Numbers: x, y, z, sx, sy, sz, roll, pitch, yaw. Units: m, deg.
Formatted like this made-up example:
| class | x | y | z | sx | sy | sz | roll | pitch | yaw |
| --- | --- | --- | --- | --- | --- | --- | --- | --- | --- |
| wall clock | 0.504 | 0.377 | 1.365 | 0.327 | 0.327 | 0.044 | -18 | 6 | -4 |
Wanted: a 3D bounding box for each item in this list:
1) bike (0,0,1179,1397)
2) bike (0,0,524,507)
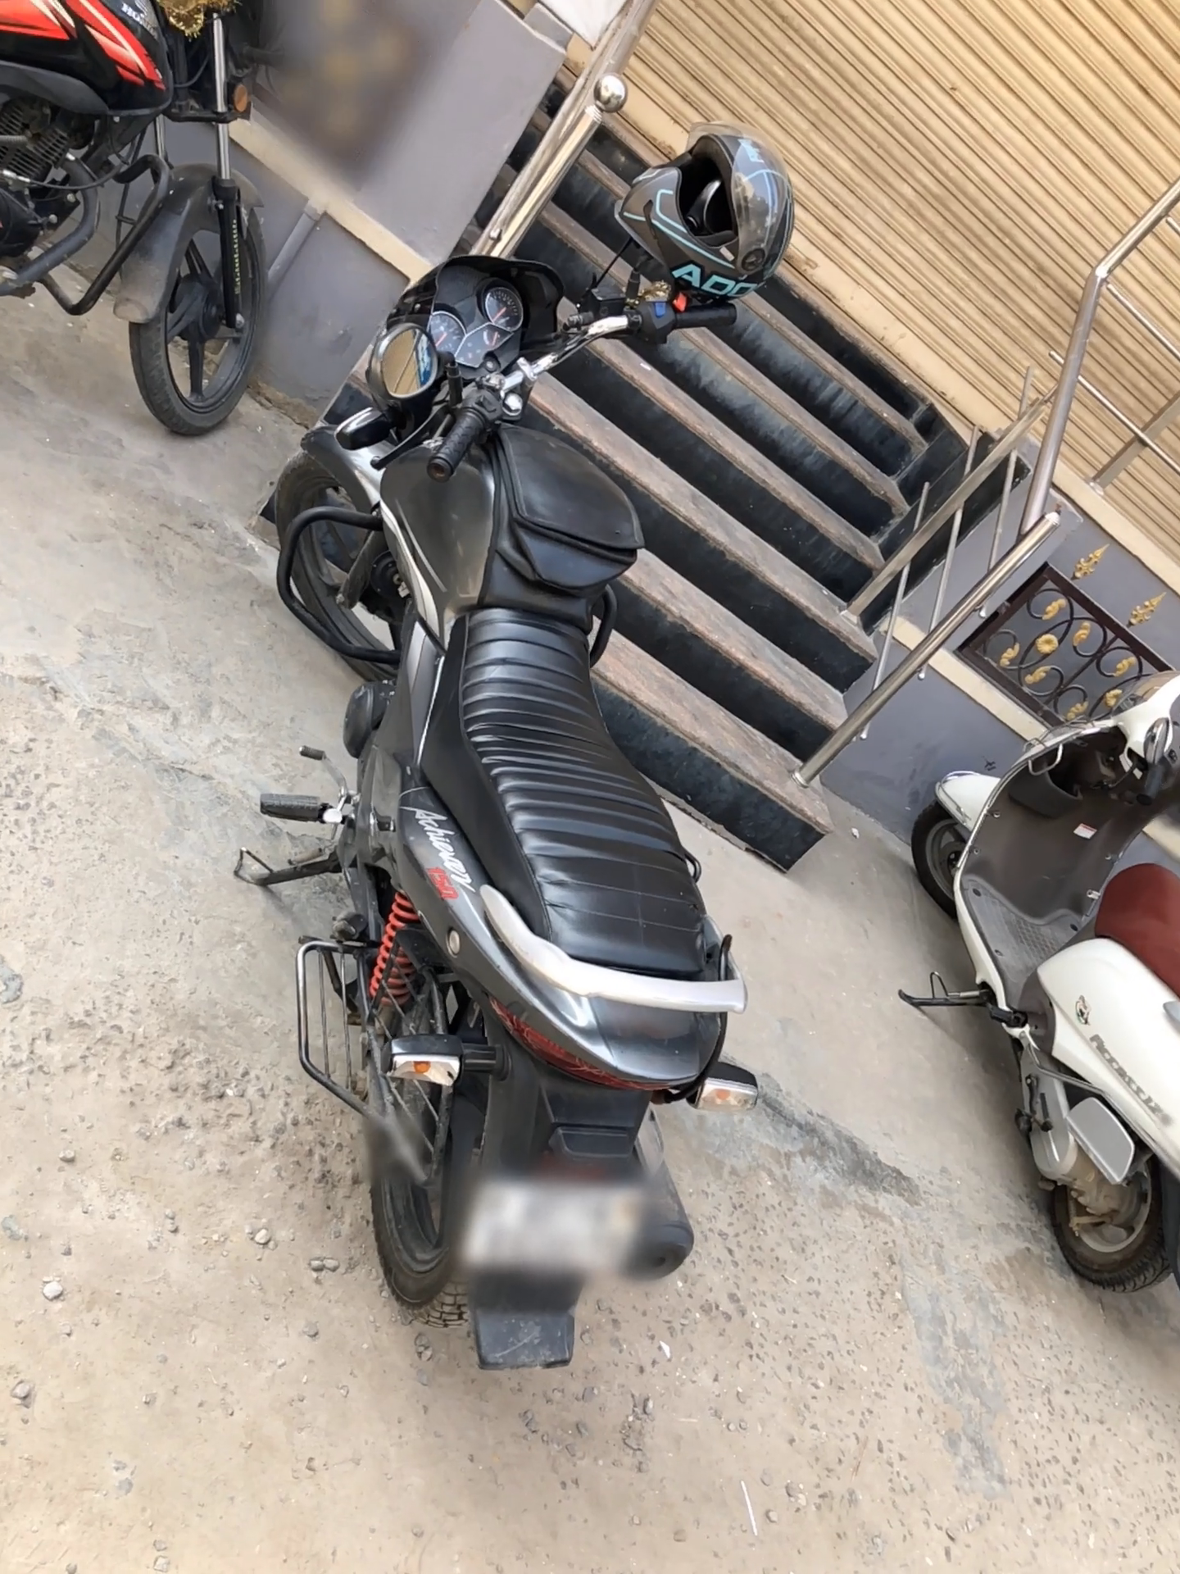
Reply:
| class | x | y | z | sx | sy | sz | roll | pitch | yaw |
| --- | --- | --- | --- | --- | --- | --- | --- | --- | --- |
| bike | -0.297 | -0.339 | 1.846 | 0.748 | 1.157 | 1.740 | 21 | 34 | -39 |
| bike | -1.055 | -1.233 | 2.356 | 0.683 | 1.057 | 1.606 | 48 | 23 | 14 |
